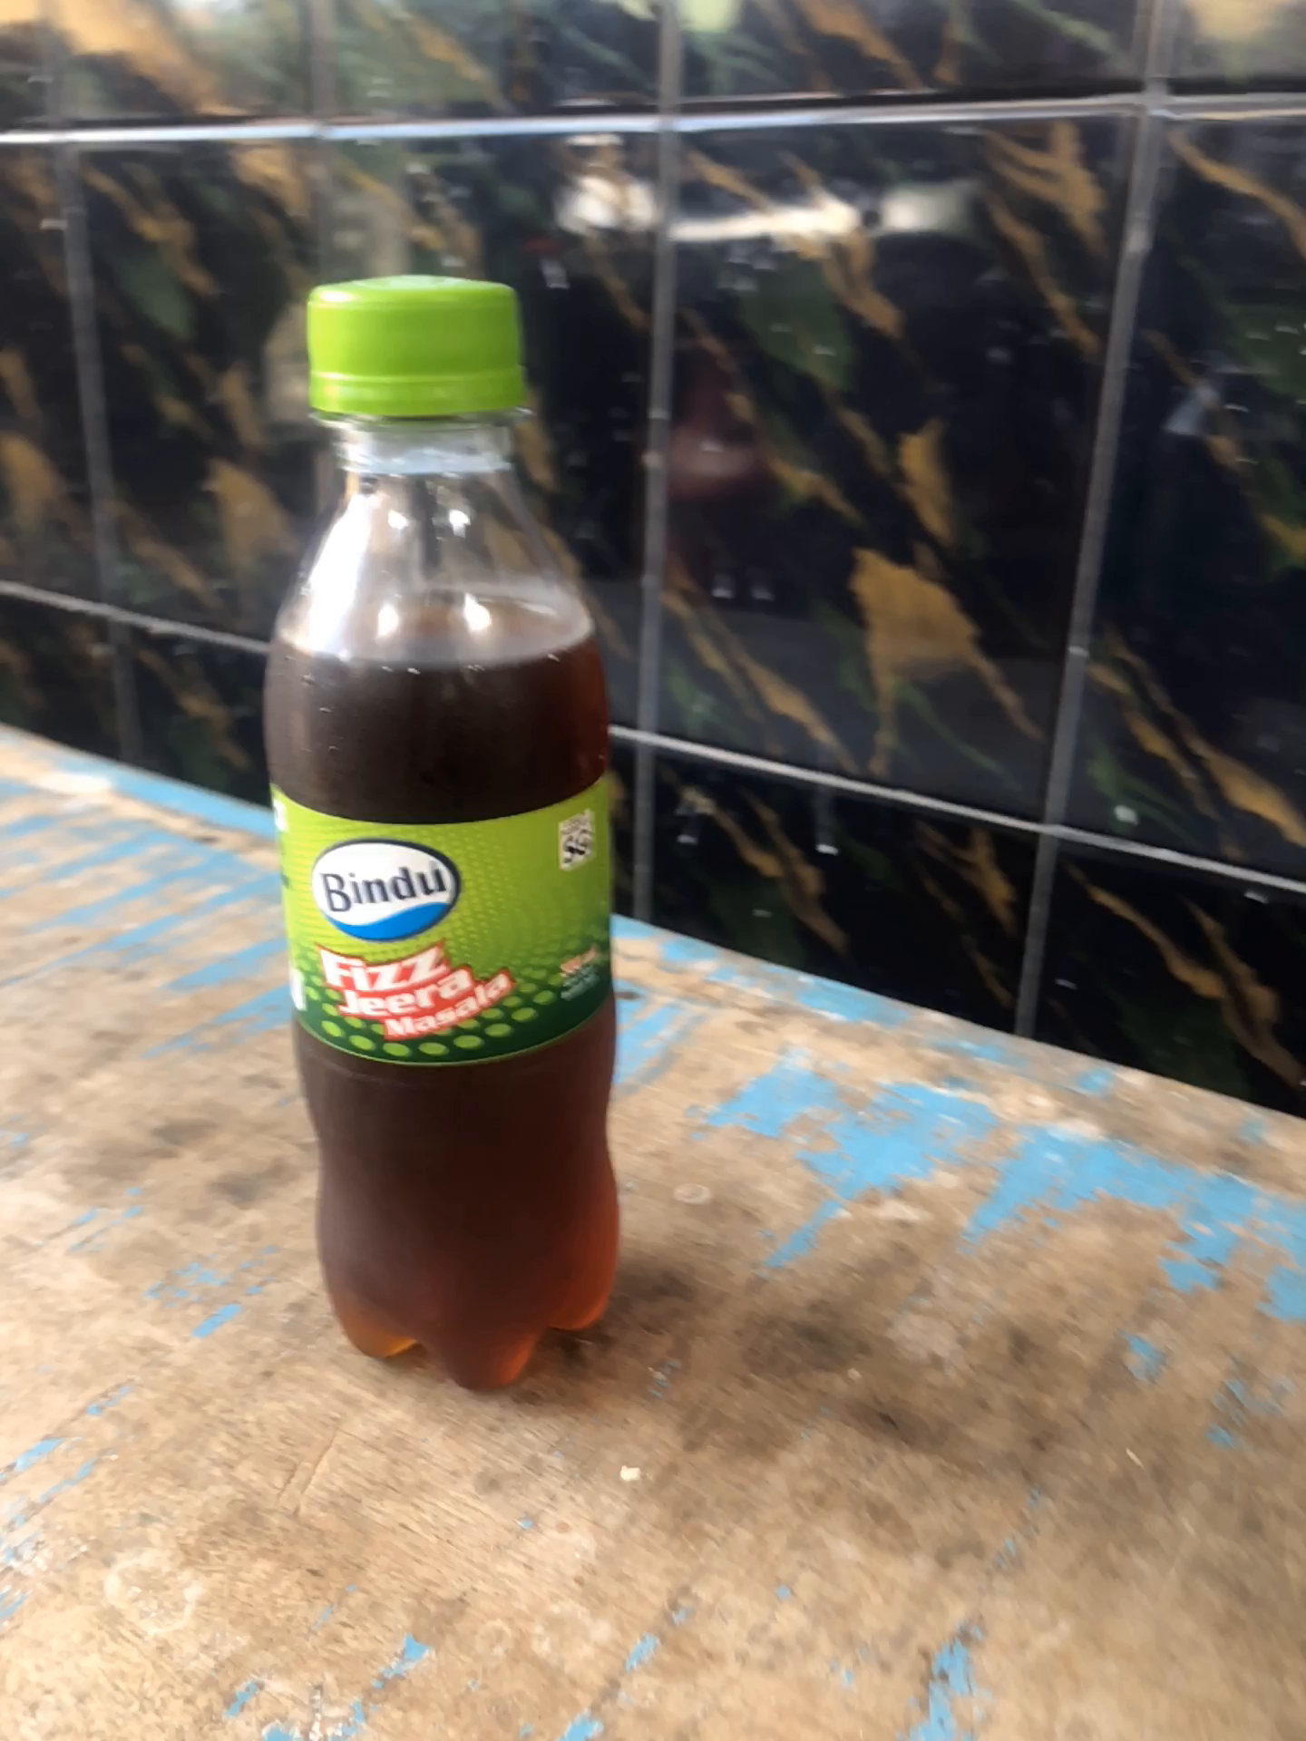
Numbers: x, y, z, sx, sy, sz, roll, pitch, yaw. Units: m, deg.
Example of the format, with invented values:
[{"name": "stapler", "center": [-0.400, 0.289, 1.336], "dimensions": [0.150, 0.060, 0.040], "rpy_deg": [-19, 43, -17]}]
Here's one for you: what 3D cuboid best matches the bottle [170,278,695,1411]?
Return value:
[{"name": "bottle", "center": [-0.031, -0.004, 0.251], "dimensions": [0.060, 0.179, 0.060], "rpy_deg": [1, 22, -1]}]
